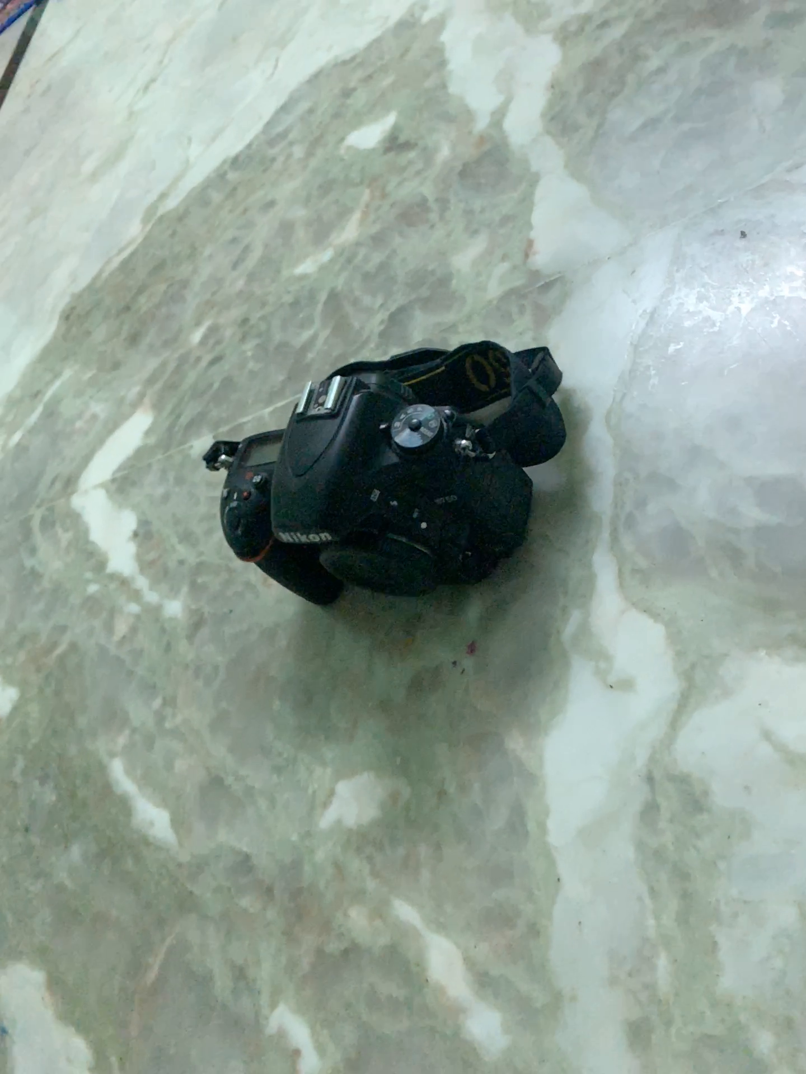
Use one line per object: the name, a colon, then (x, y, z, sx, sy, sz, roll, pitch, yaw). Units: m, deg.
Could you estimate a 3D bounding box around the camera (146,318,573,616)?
camera: (-0.018, -0.023, 0.379, 0.151, 0.100, 0.080, -1, 62, 36)
